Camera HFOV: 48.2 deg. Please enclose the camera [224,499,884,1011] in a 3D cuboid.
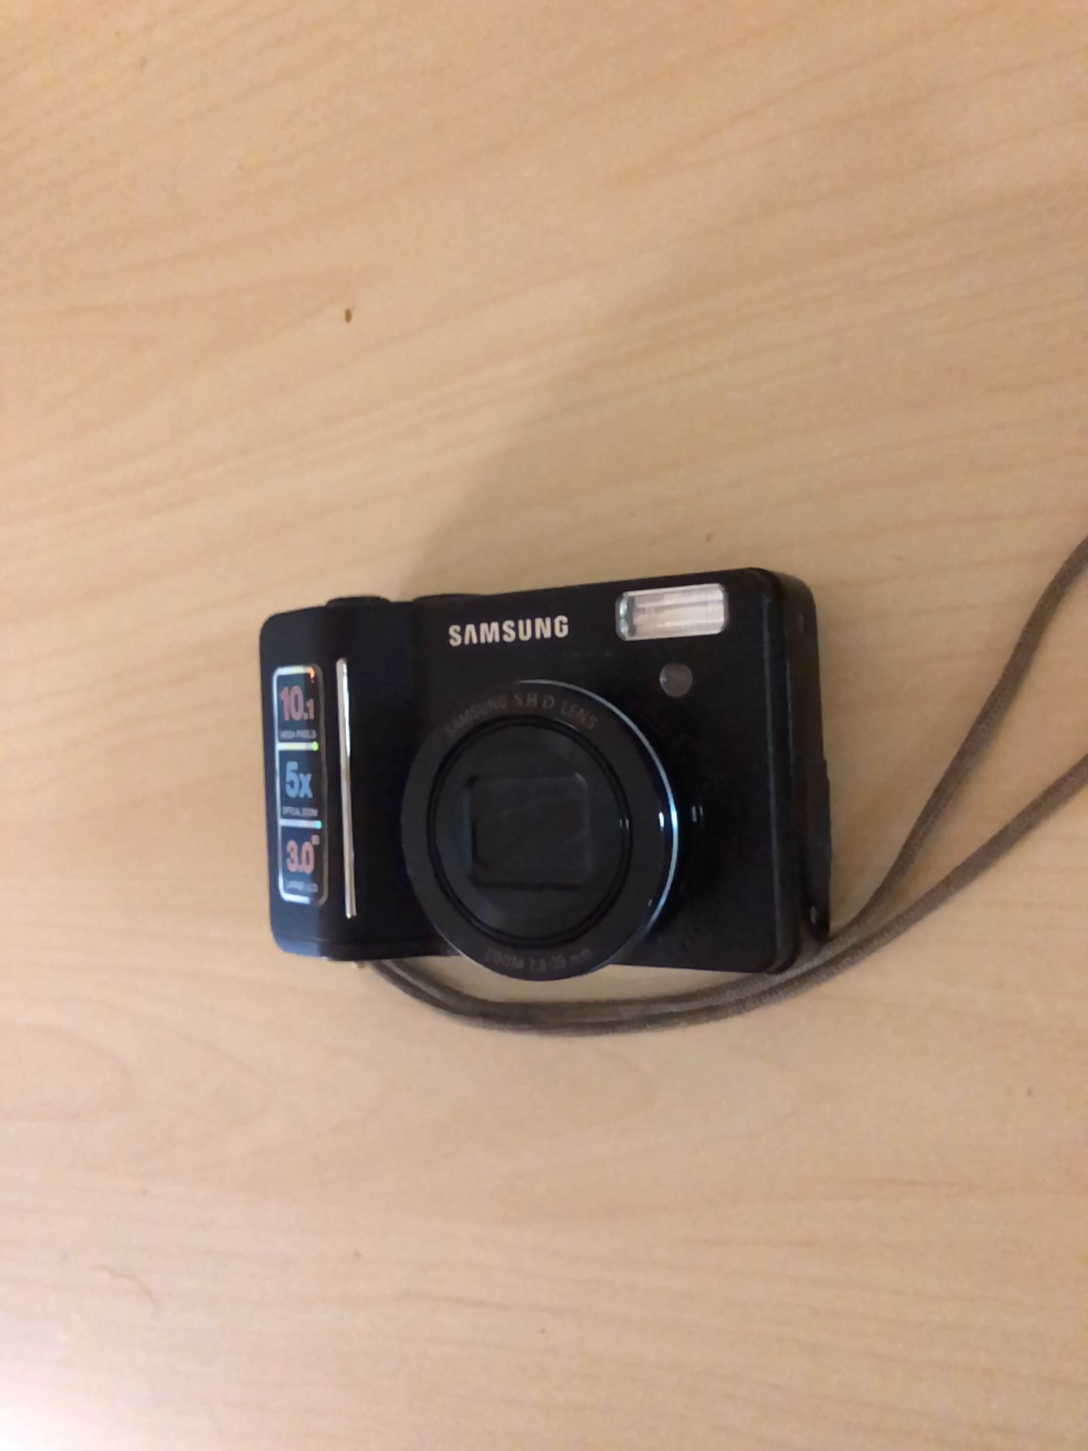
[{"bbox_3d":[-0.002,0.005,0.207,0.110,0.030,0.070,-2,89,30],"label":"camera"}]
